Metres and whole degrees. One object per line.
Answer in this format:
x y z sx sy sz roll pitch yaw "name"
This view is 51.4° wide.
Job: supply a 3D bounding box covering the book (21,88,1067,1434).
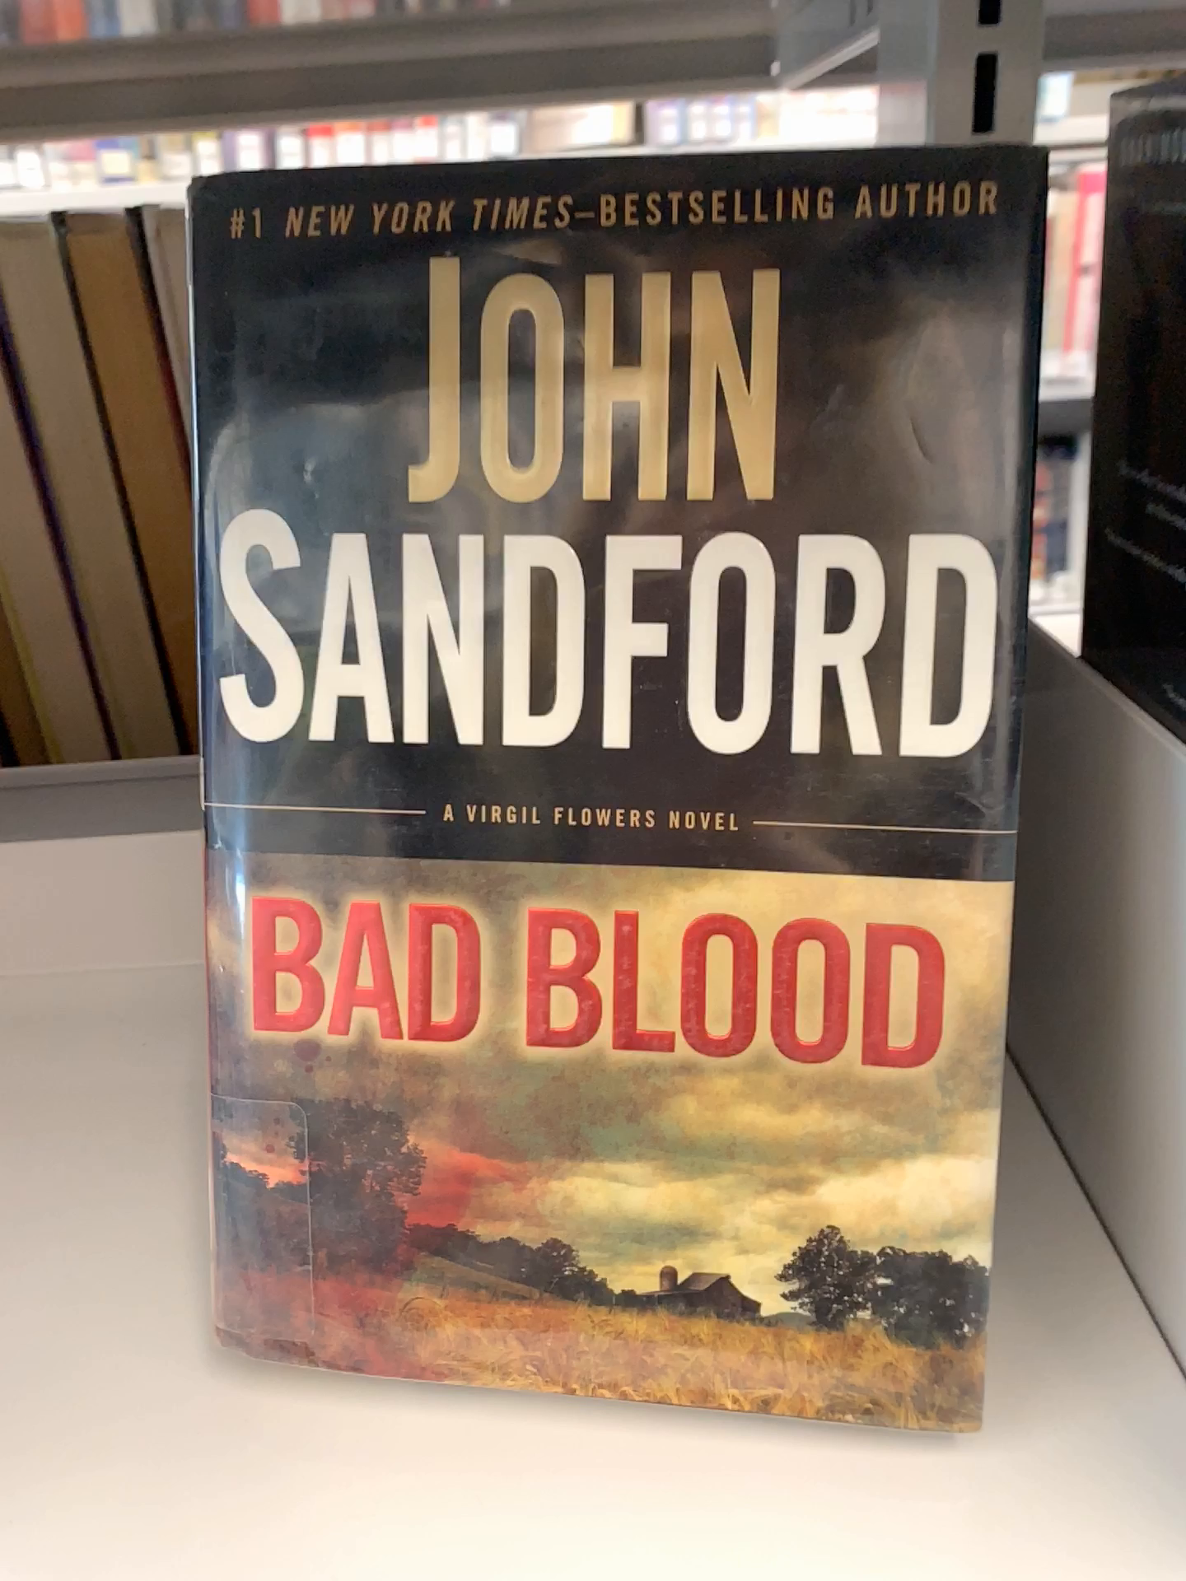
-0.007 0.000 0.233 0.165 0.215 0.050 0 10 10 "book"
